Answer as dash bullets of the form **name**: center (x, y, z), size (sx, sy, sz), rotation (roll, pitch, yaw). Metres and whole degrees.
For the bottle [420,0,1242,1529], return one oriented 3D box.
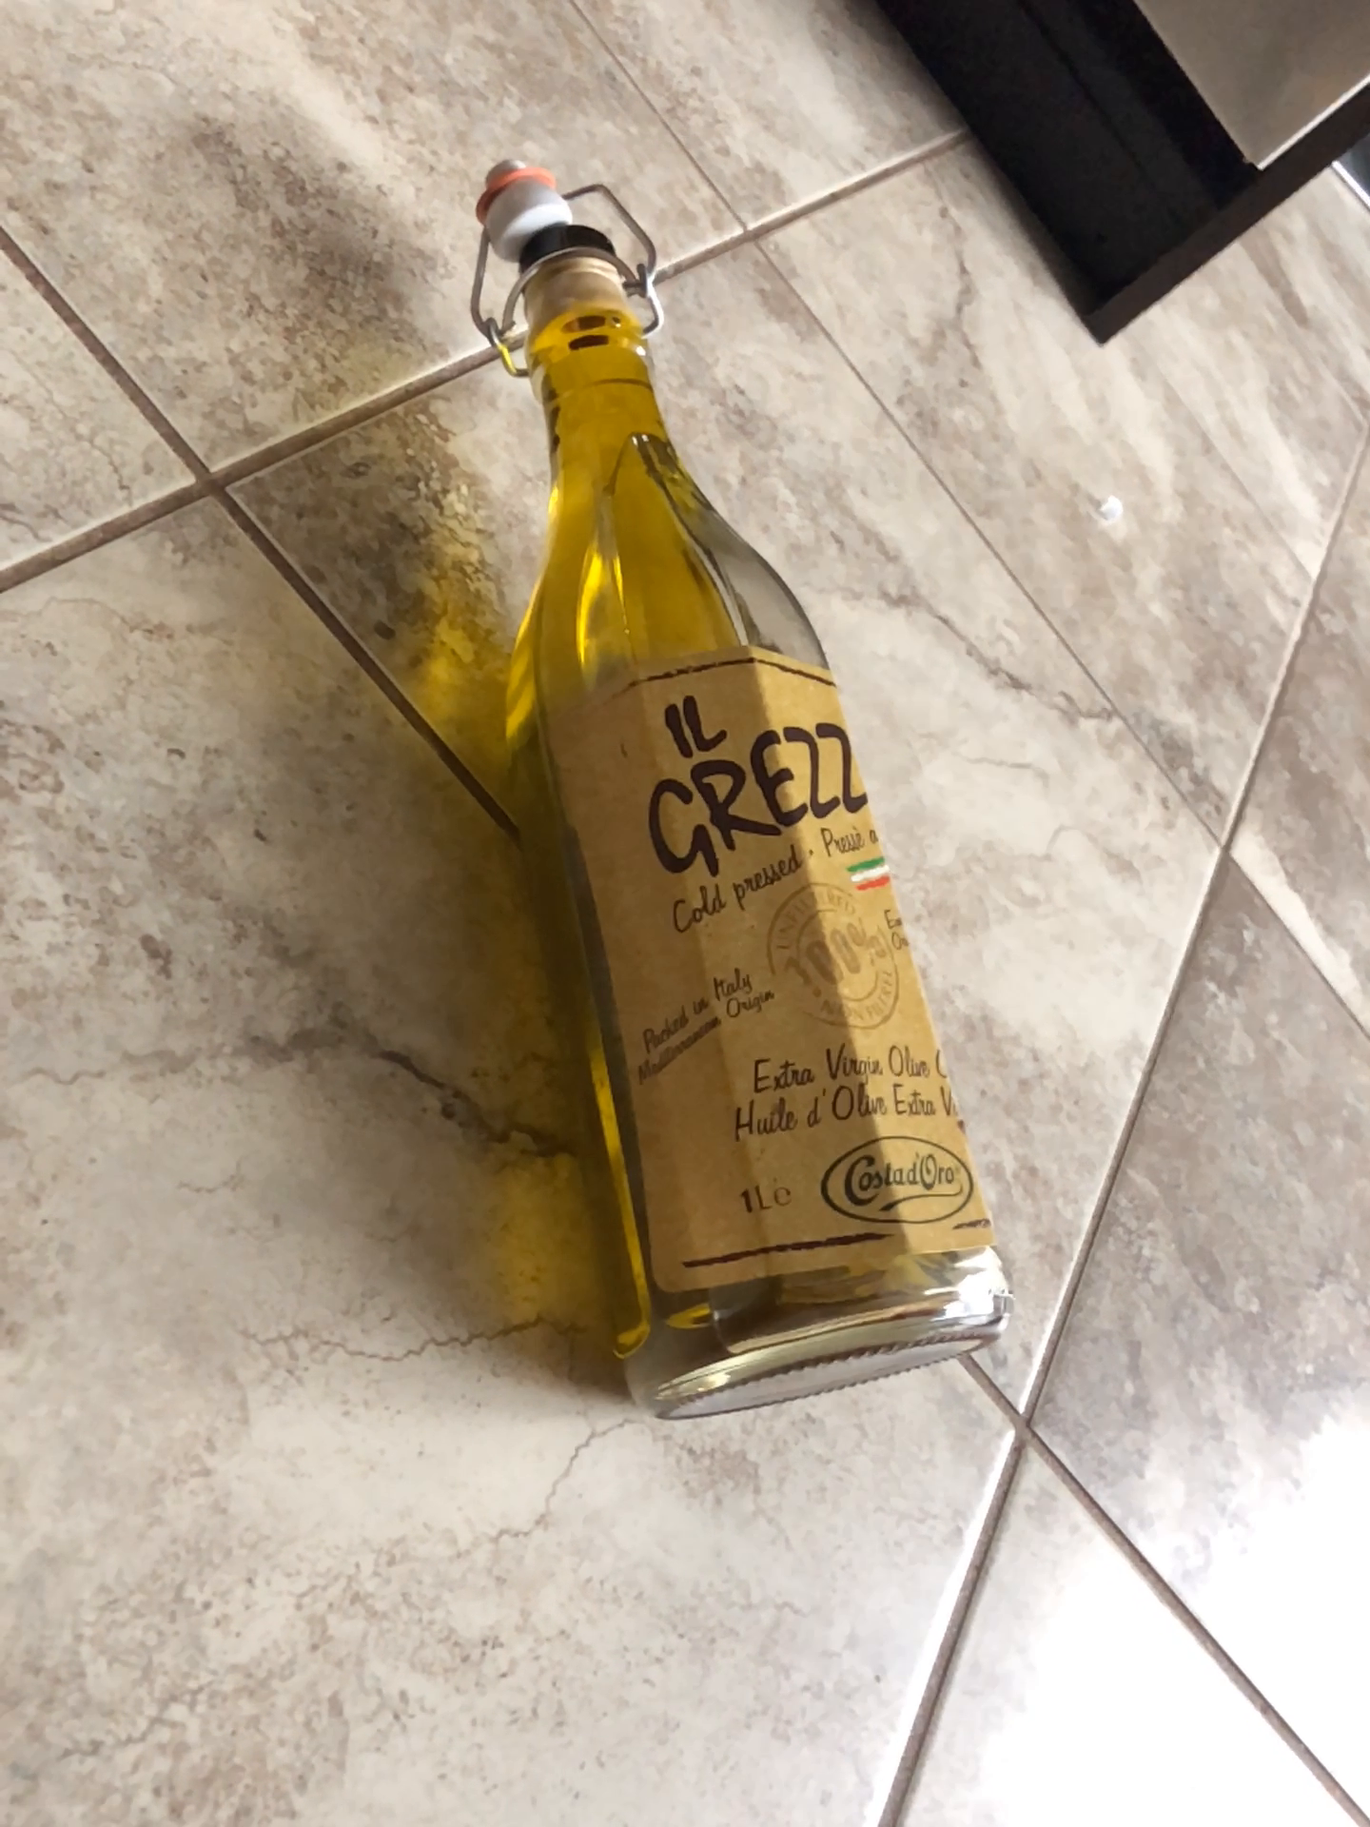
- **bottle**: center (0.014, -0.048, 0.371), size (0.090, 0.100, 0.350), rotation (13, 56, -39)
